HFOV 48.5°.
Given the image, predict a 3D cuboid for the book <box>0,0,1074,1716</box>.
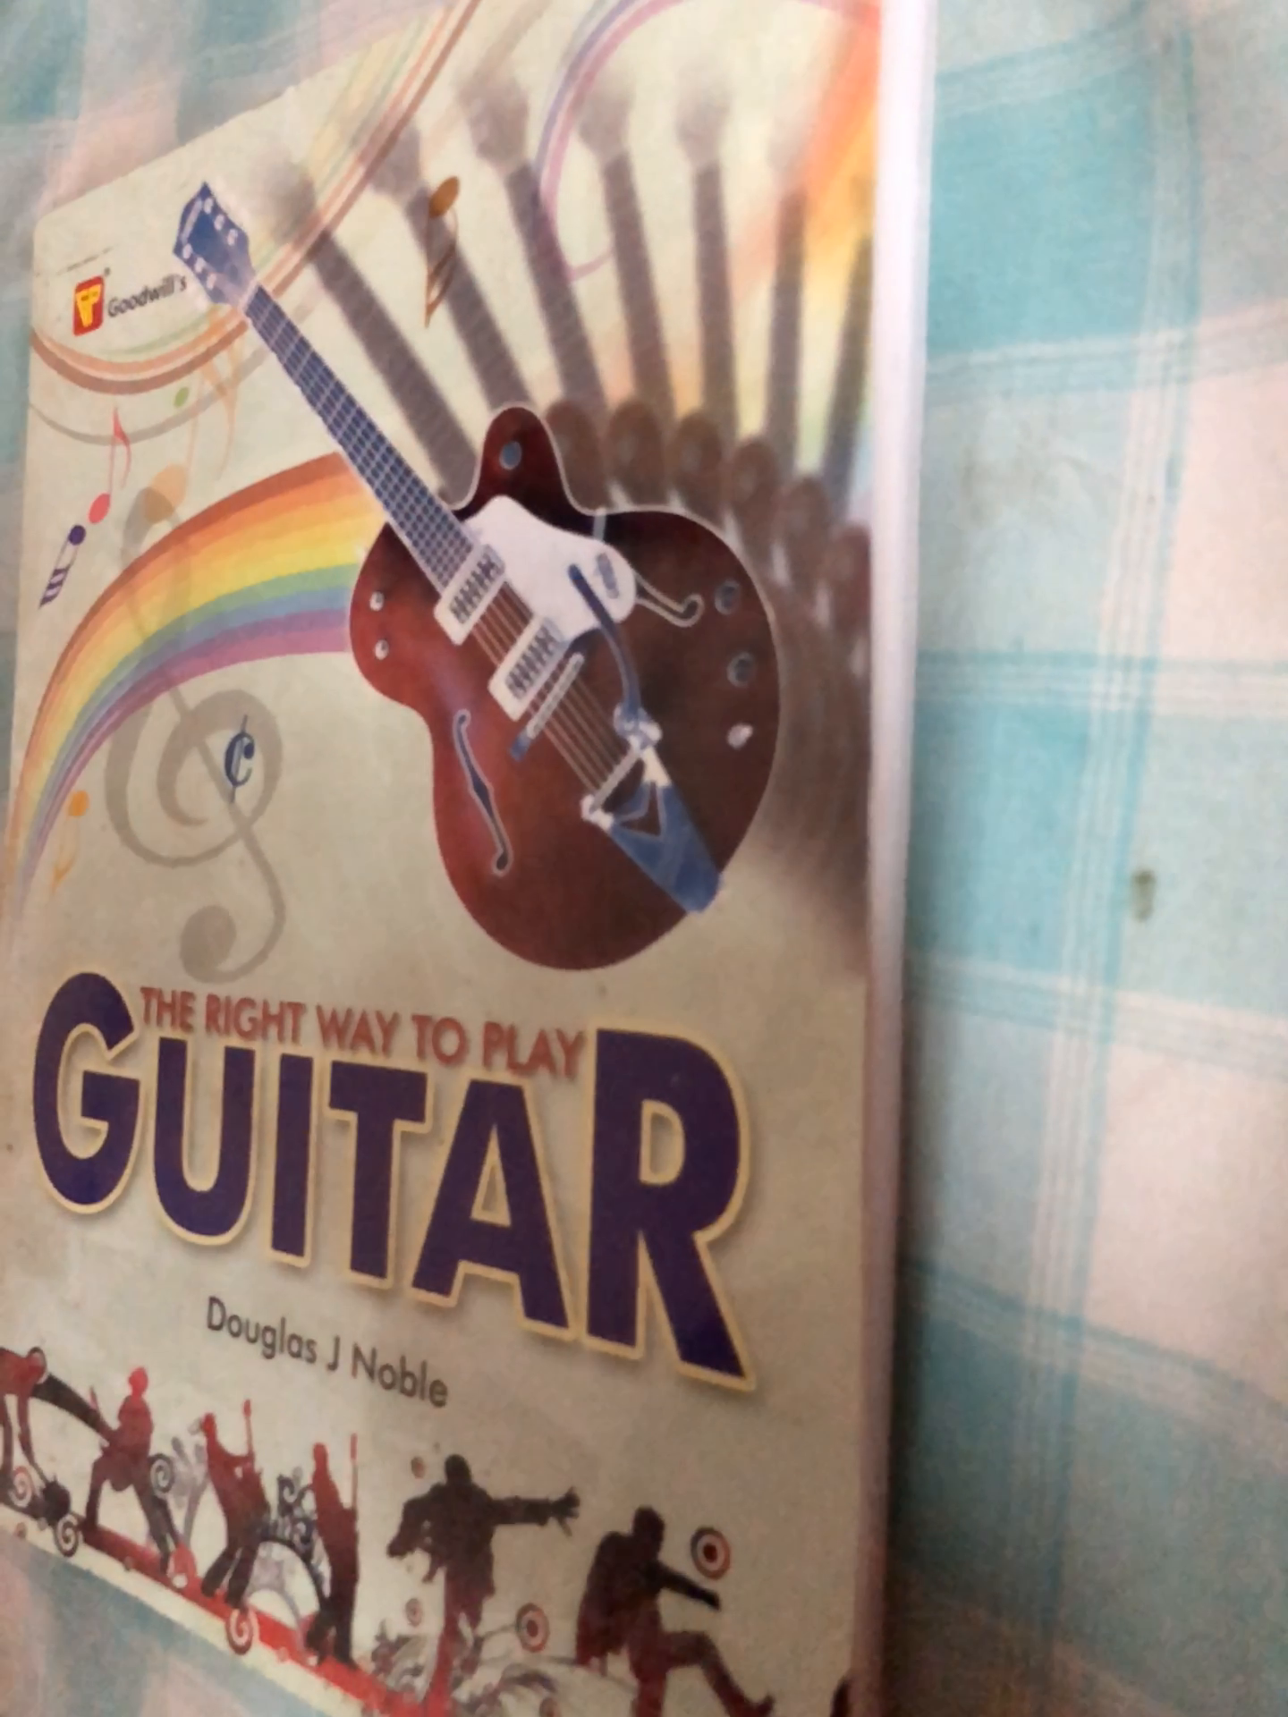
[{"bbox_3d":[-0.037,-0.004,0.203,0.181,0.030,0.240,1,87,38],"label":"book"}]
